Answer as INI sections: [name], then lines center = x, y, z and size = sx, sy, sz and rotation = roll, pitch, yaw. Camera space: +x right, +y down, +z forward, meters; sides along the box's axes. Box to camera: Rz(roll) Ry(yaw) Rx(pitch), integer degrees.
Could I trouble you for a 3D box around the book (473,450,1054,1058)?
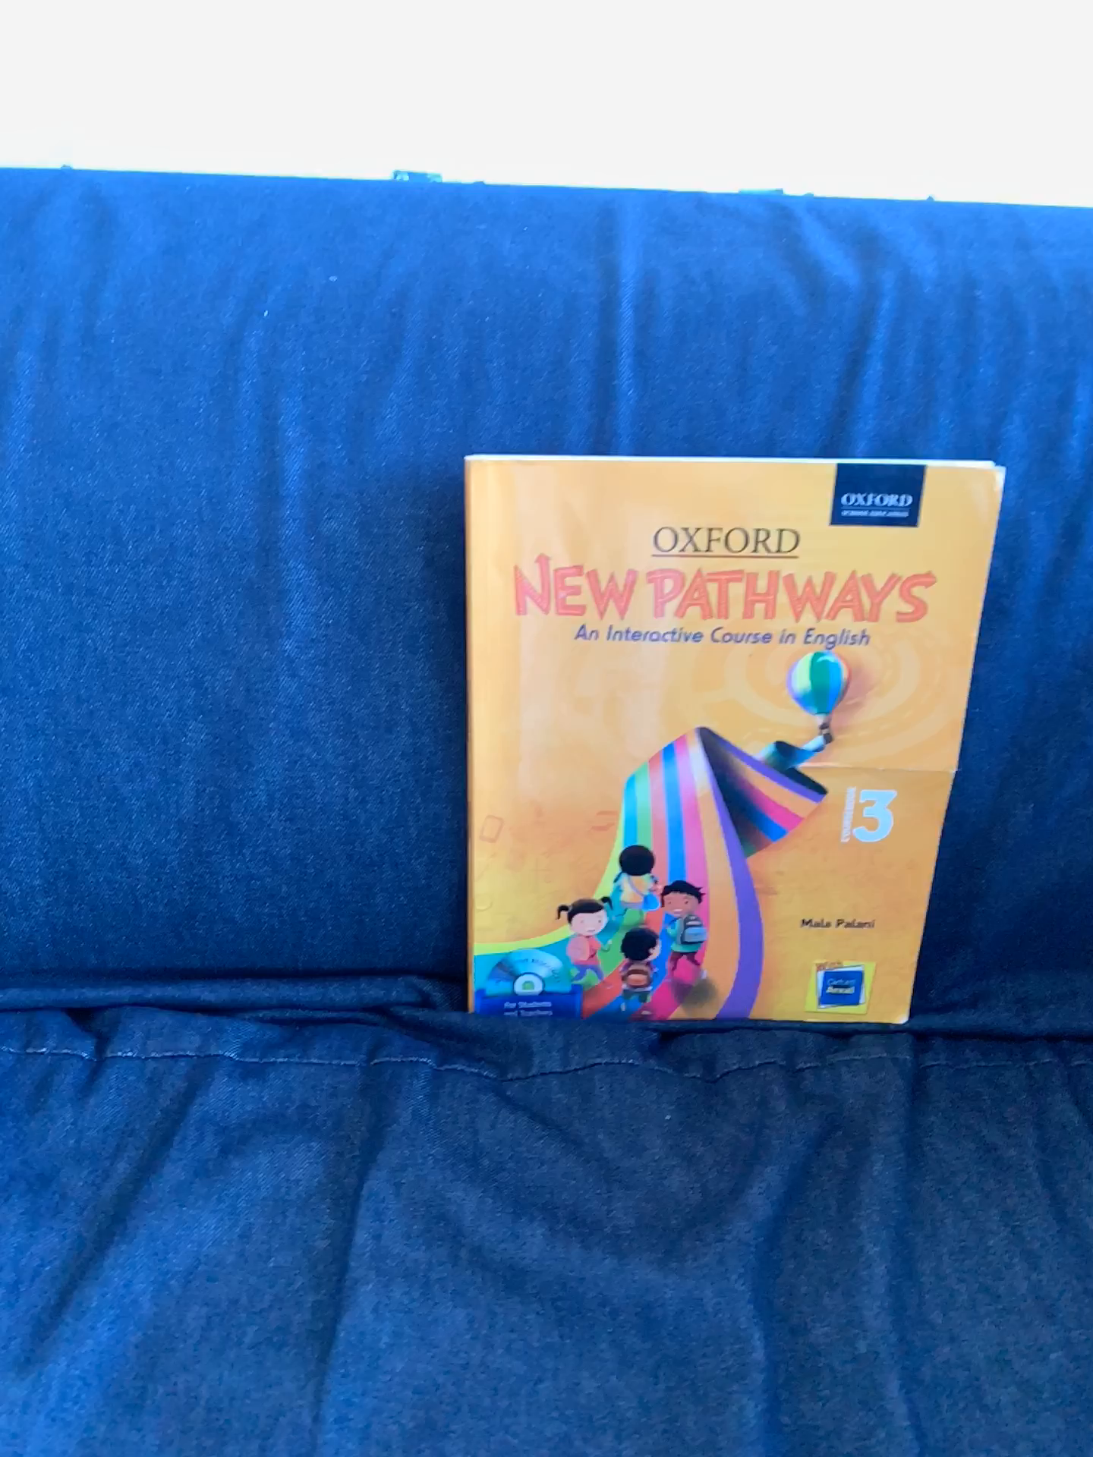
[book]
center = 0.083, 0.023, 0.512
size = 0.230, 0.283, 0.030
rotation = 1, 22, -2
